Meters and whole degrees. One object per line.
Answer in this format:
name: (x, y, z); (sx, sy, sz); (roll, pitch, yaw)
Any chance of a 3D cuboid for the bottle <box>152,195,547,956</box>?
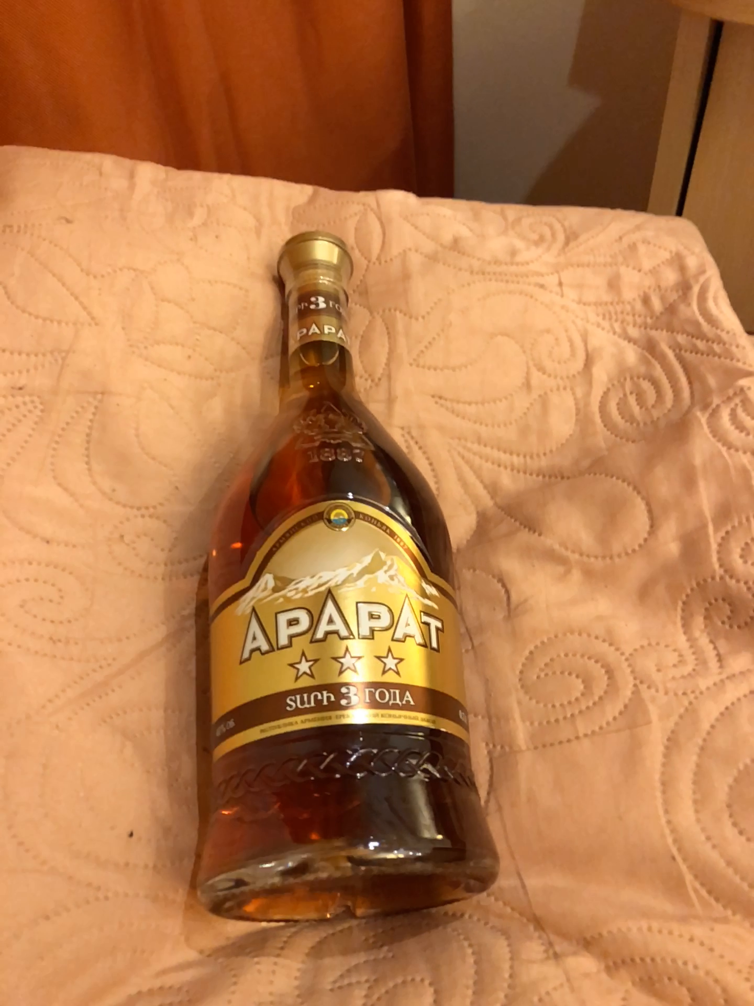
bottle: (-0.018, 0.006, 0.302); (0.090, 0.089, 0.259); (-7, 53, -2)
